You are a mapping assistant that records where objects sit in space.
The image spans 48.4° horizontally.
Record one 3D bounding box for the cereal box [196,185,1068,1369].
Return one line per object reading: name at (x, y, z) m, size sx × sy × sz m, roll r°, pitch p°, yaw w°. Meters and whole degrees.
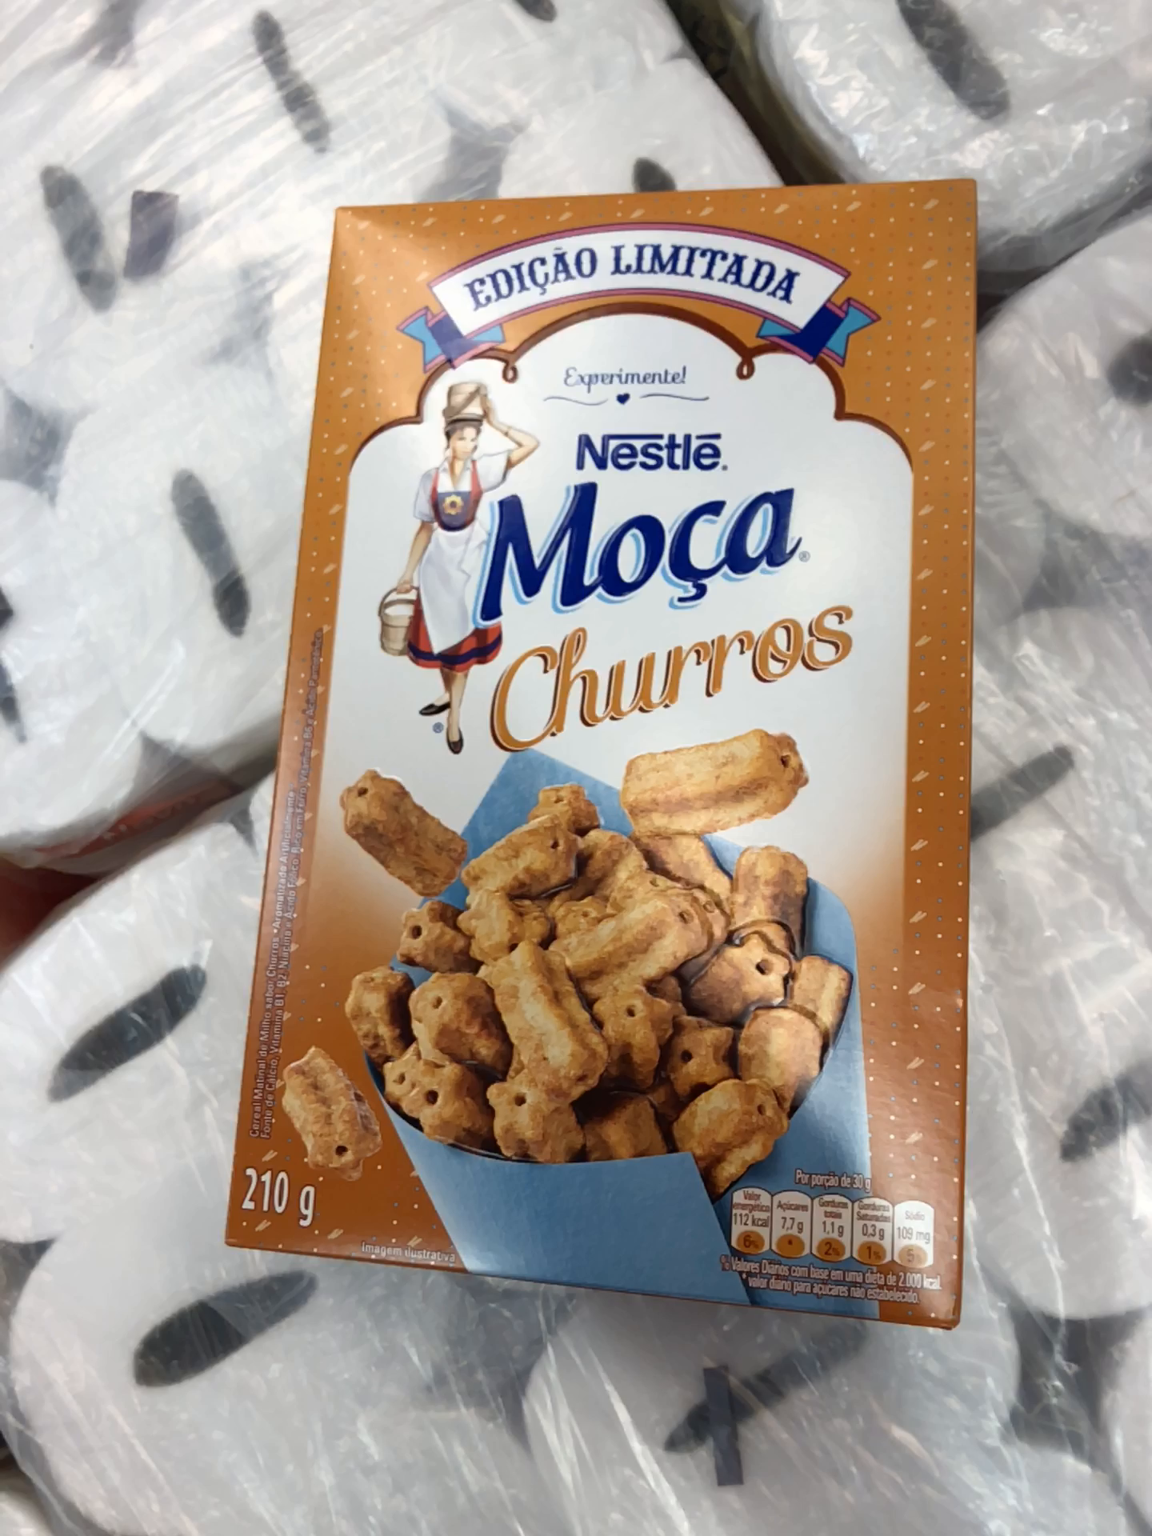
cereal box at (0.018, -0.007, 0.295) m, size 0.170 × 0.050 × 0.240 m, roll 2°, pitch 80°, yaw 10°
